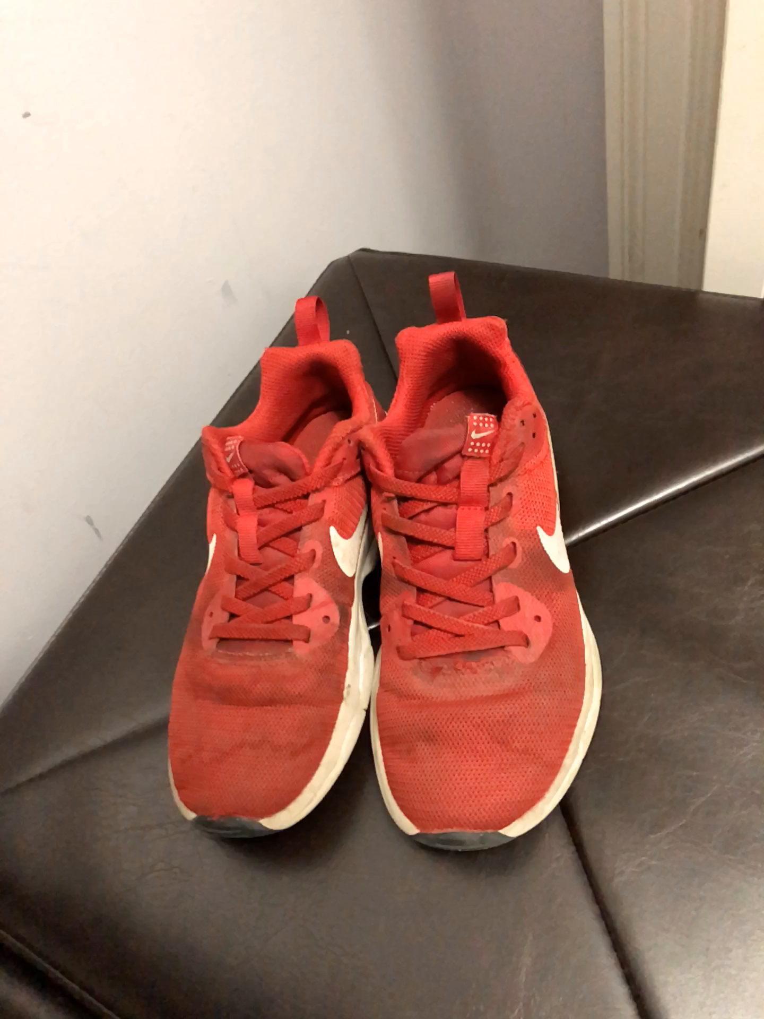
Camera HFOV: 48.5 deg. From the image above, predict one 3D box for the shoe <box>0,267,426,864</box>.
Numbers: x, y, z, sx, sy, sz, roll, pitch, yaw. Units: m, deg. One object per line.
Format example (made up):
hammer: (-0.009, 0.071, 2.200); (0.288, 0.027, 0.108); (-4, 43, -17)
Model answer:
shoe: (-0.053, 0.016, 0.357); (0.095, 0.100, 0.220); (1, 58, 17)

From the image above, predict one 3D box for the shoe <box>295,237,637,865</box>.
shoe: (0.038, 0.012, 0.335); (0.095, 0.100, 0.220); (-5, 56, 13)
